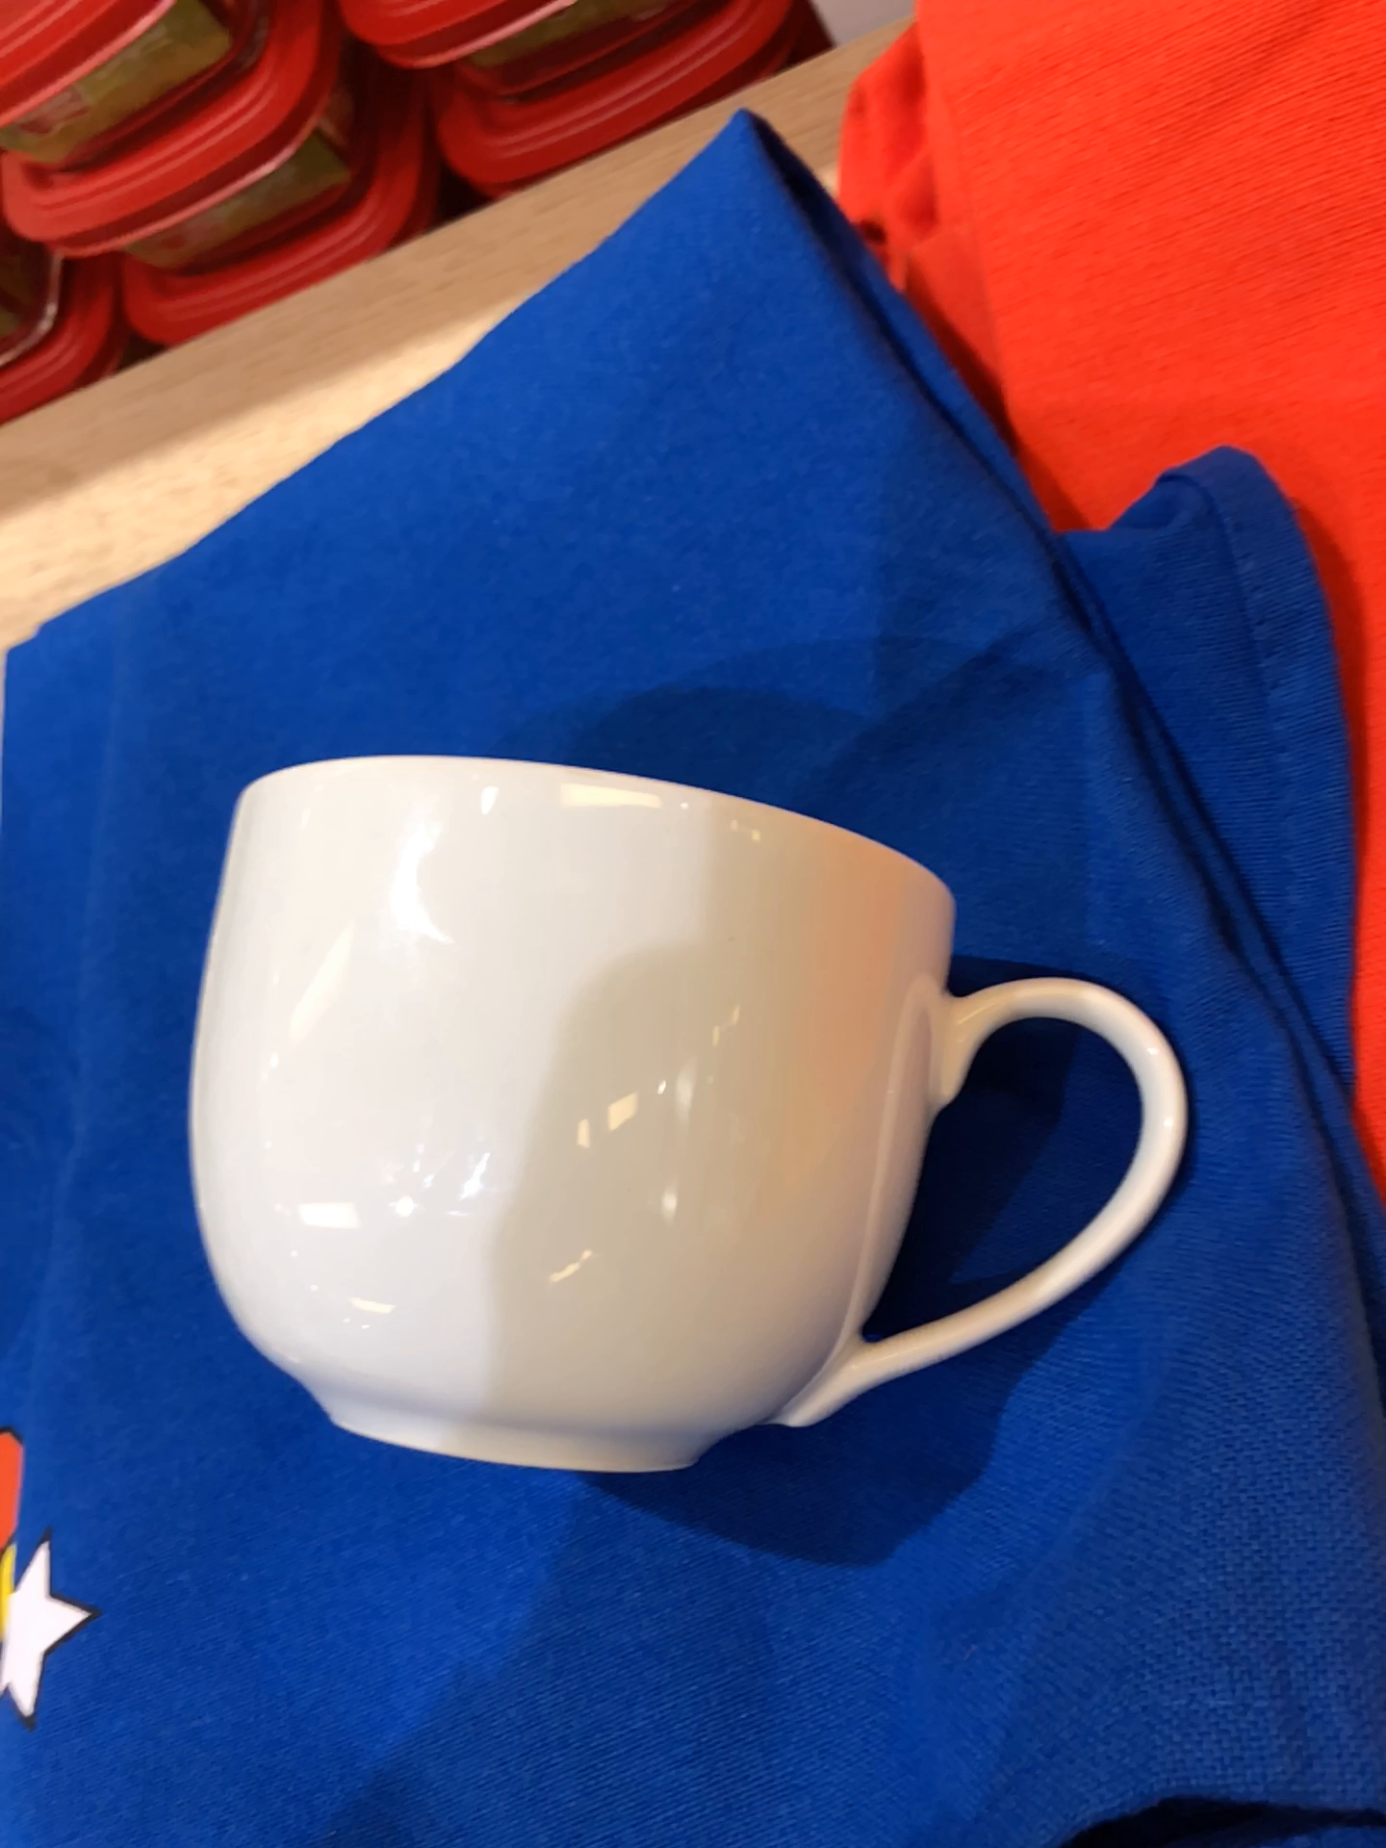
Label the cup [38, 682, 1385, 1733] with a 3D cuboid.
[{"bbox_3d":[0.004,0.034,0.200,0.130,0.080,0.090,8,80,-2],"label":"cup"}]
